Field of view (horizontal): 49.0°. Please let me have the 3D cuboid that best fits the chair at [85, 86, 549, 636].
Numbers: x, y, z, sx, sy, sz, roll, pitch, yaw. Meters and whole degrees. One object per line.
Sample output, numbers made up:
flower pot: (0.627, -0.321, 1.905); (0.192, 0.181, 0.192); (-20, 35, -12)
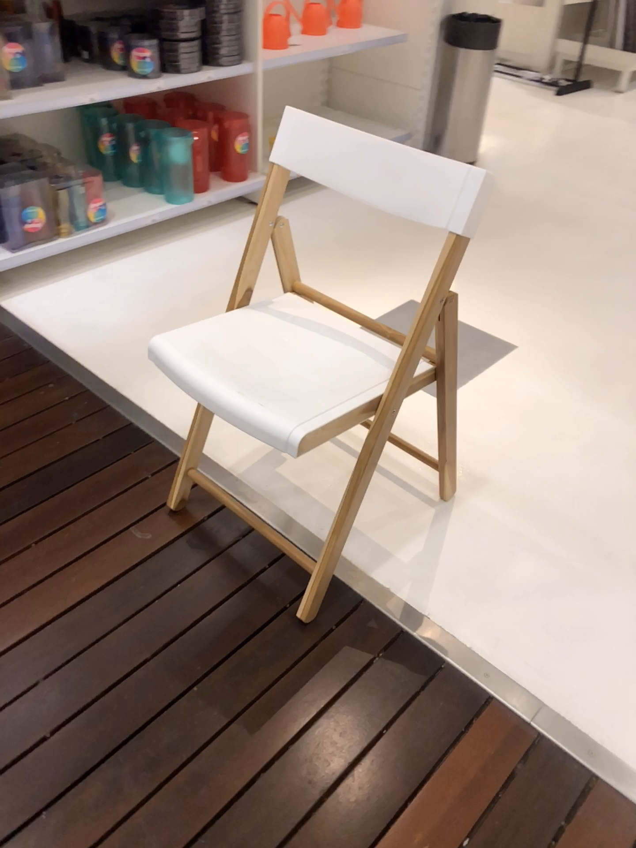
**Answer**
chair: (0.000, -0.128, 1.278); (0.472, 0.734, 0.512); (33, 49, 32)
